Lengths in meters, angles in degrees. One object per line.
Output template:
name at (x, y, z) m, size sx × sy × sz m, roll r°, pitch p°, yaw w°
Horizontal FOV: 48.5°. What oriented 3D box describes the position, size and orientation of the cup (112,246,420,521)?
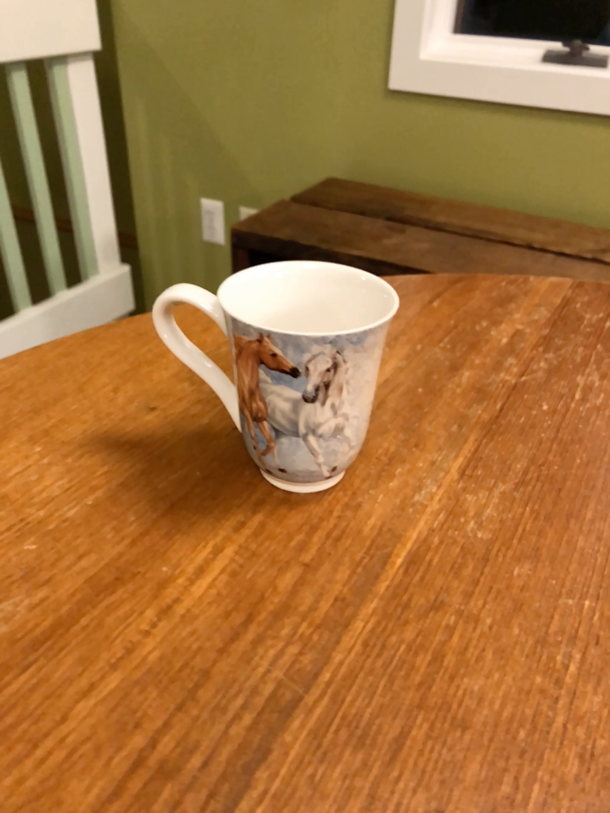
cup at (-0.015, -0.016, 0.359) m, size 0.132 × 0.098 × 0.083 m, roll 9°, pitch 34°, yaw 11°
